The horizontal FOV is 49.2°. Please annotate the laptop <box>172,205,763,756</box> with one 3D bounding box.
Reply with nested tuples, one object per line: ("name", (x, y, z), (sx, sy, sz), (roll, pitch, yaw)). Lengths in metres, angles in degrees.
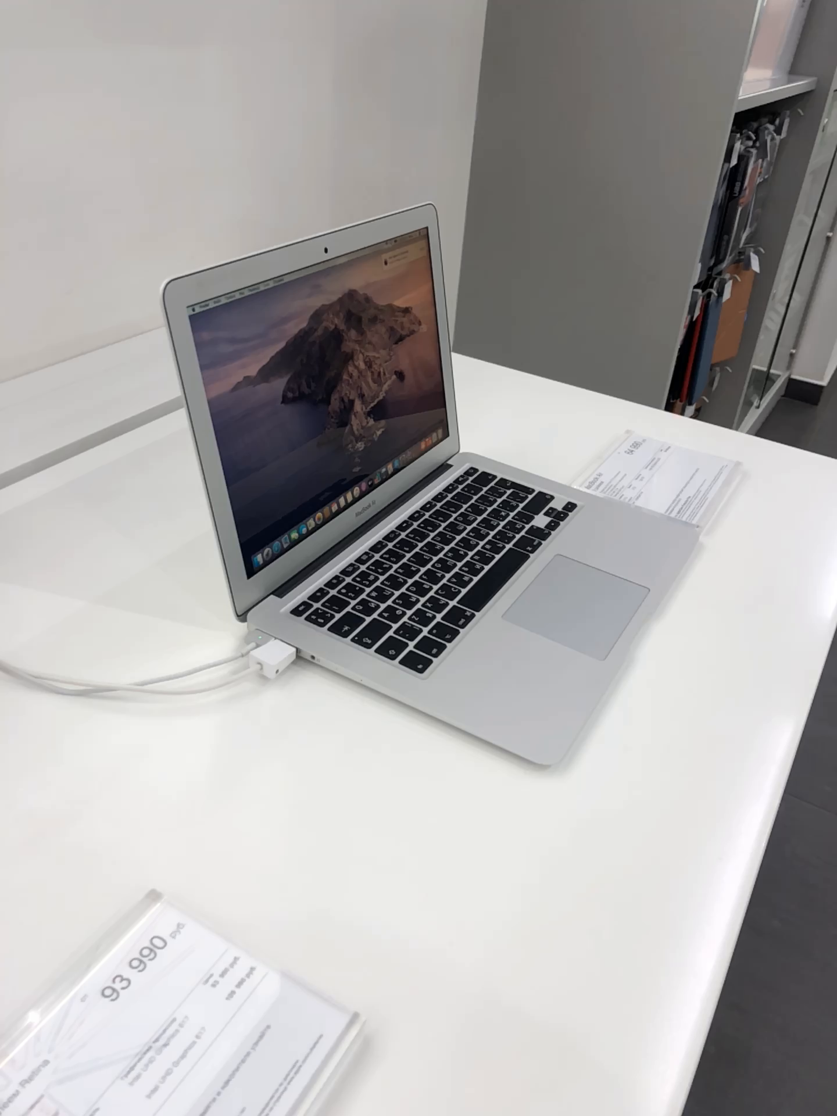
("laptop", (0.045, -0.089, 0.640), (0.270, 0.207, 0.316), (21, 35, 22))
